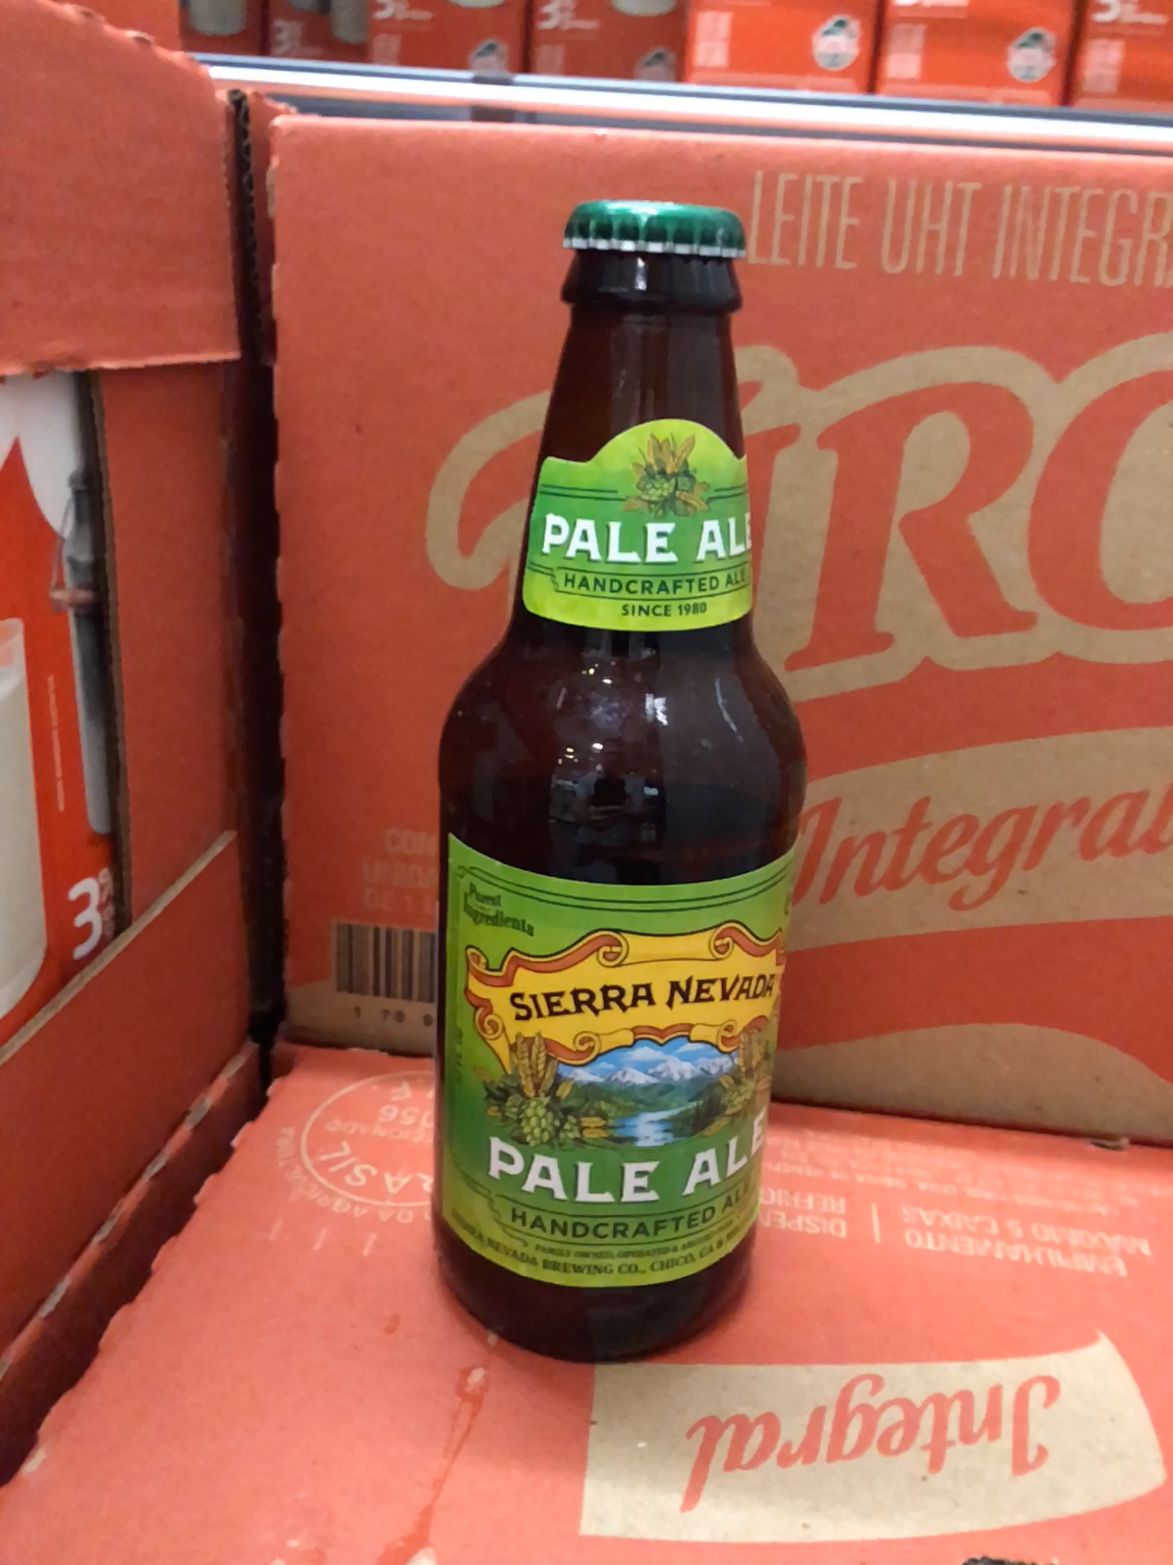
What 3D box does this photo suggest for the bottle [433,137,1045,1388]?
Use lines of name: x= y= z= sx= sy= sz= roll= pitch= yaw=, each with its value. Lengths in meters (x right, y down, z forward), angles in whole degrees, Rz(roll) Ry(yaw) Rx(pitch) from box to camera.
bottle: x=0.013 y=0.002 z=0.222 sx=0.070 sy=0.189 sz=0.060 roll=2 pitch=19 yaw=-9
